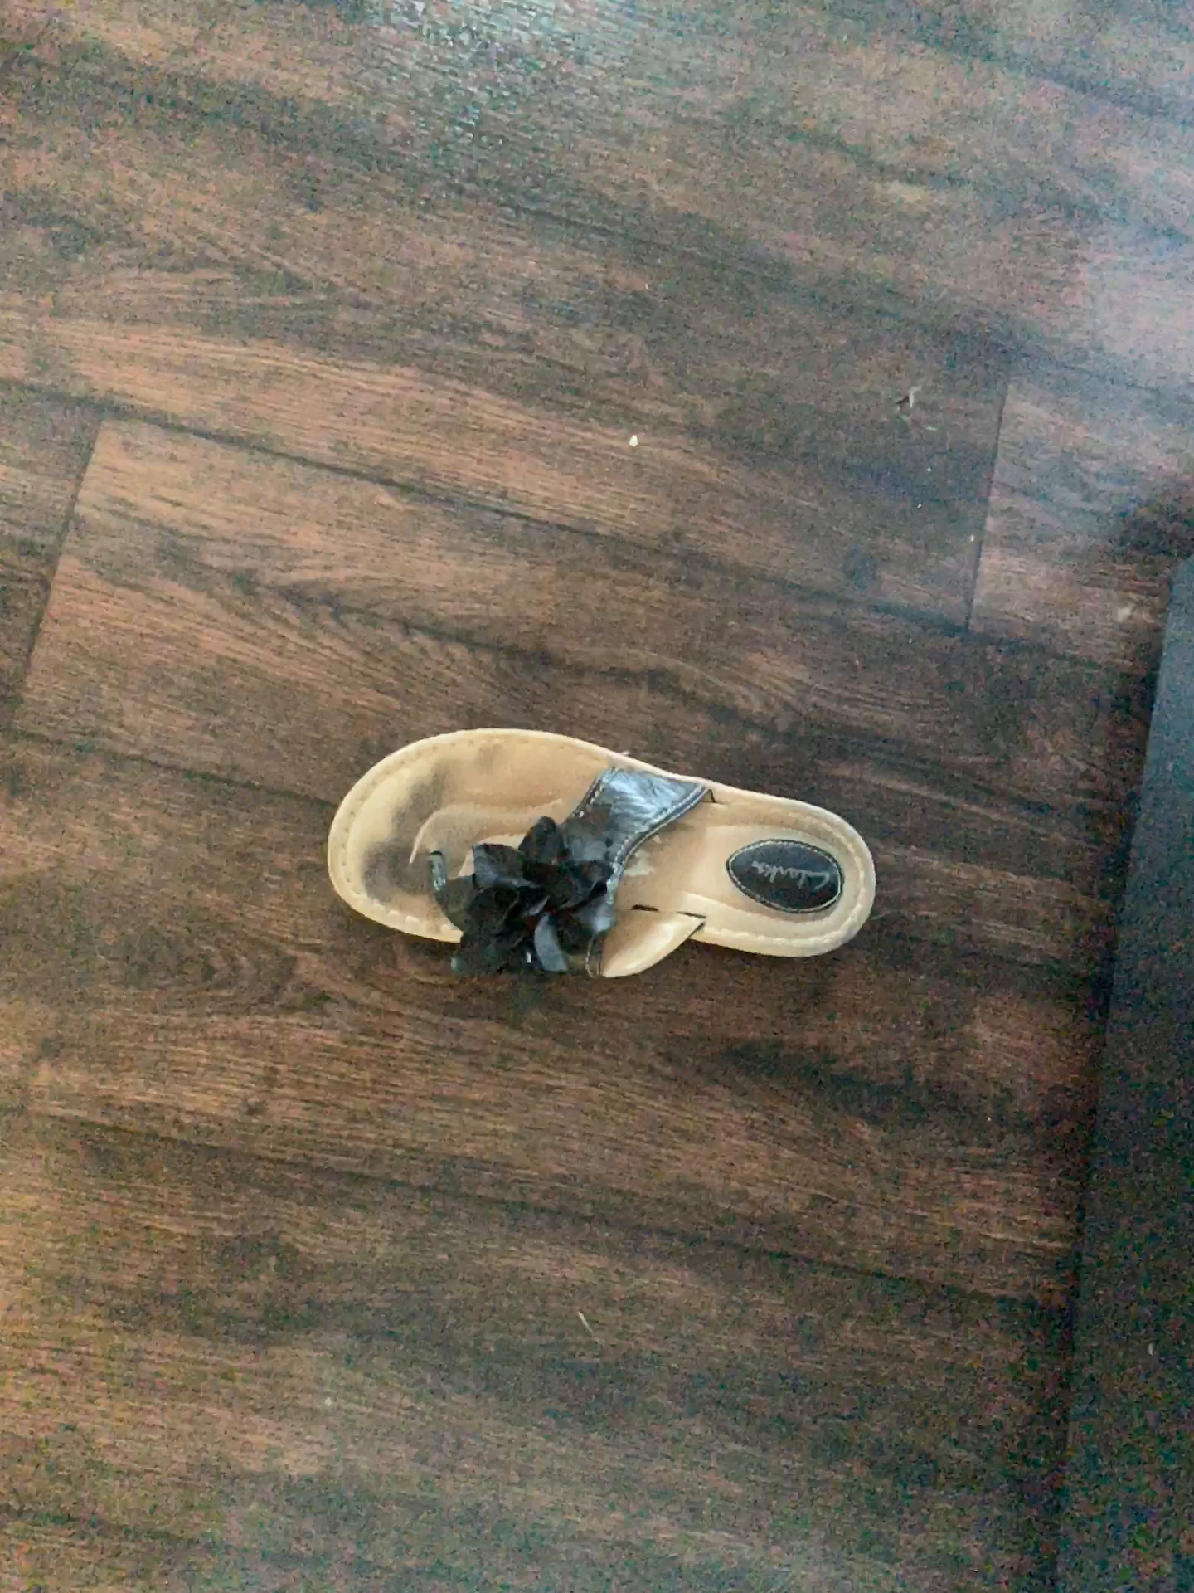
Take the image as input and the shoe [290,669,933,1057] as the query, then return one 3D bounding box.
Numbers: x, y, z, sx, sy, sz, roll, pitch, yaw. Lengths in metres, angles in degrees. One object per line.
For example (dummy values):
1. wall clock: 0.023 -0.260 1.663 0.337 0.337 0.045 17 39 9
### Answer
1. shoe: 0.008 0.031 0.524 0.250 0.050 0.110 12 81 -6
